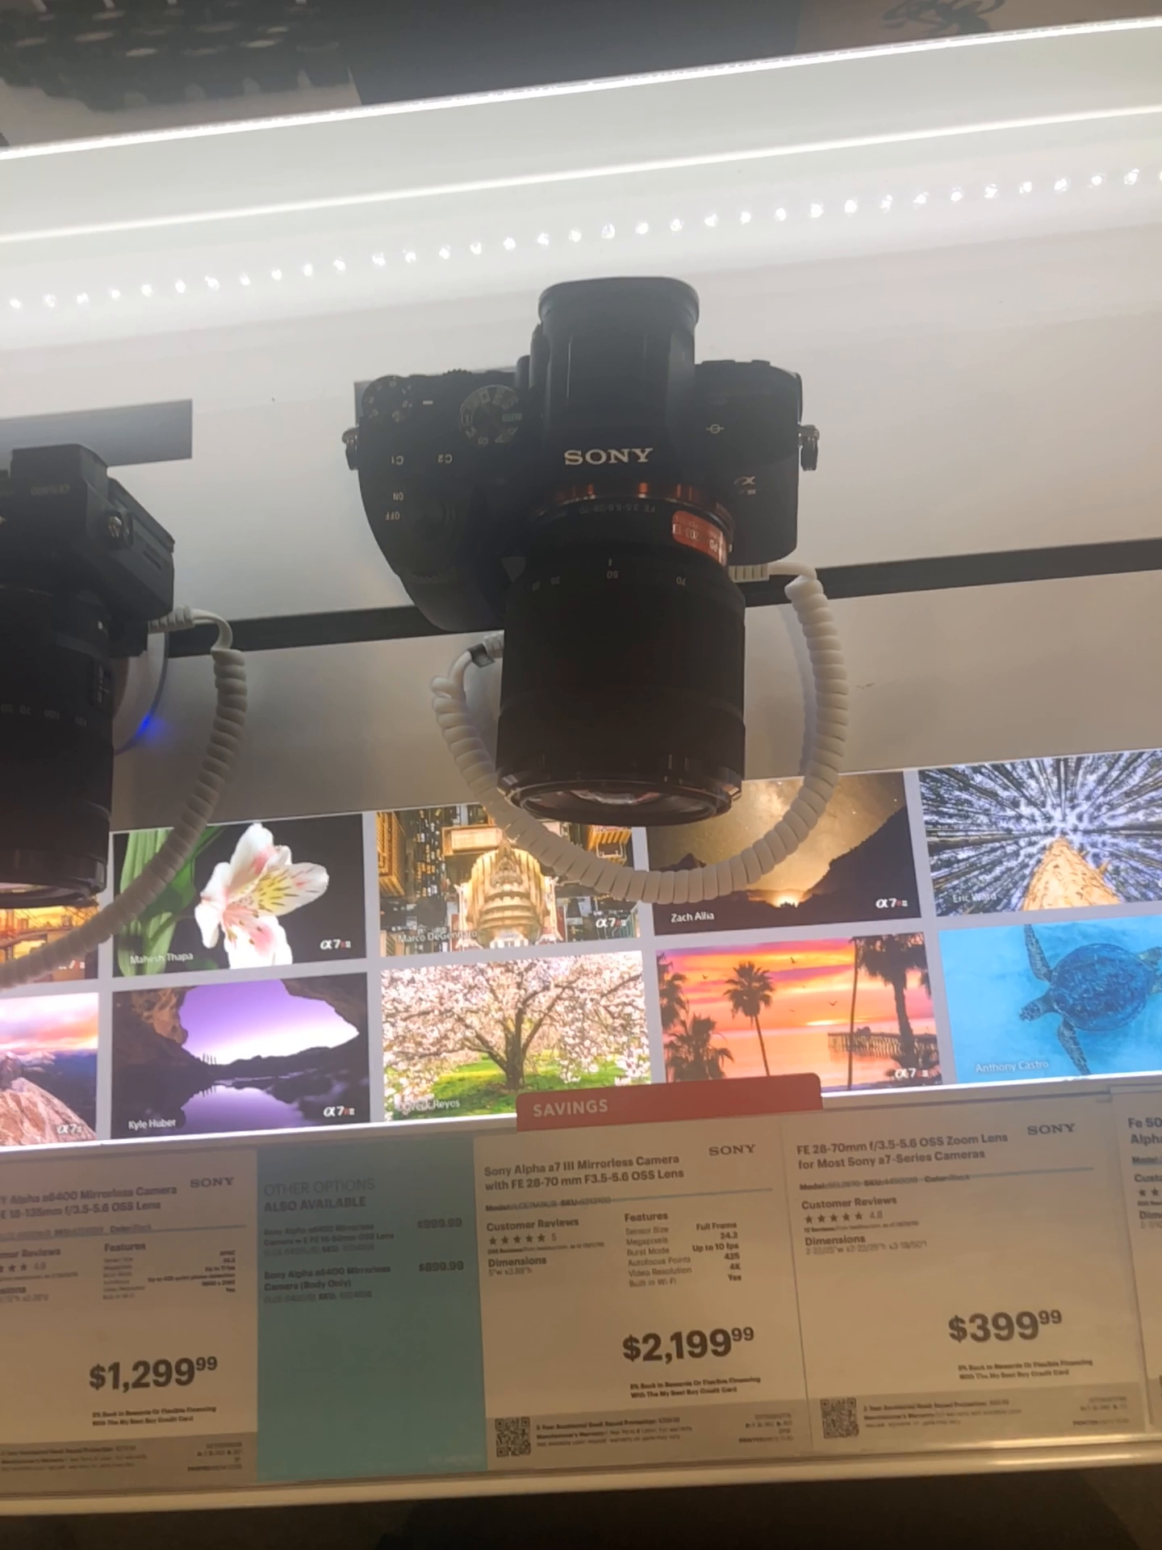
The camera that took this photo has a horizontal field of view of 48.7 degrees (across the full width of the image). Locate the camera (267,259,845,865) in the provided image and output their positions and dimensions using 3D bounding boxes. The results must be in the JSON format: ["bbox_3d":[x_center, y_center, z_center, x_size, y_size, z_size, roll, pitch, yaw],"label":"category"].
[{"bbox_3d":[-0.006,-0.053,0.368,0.140,0.090,0.140,-3,78,4],"label":"camera"}]
